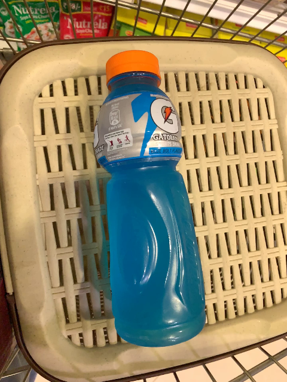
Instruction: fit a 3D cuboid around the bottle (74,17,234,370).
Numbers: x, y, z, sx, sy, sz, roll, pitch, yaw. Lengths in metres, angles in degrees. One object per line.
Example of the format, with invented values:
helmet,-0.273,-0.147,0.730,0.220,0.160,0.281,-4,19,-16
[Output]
bottle,0.007,0.000,0.222,0.080,0.060,0.210,-6,90,-30
